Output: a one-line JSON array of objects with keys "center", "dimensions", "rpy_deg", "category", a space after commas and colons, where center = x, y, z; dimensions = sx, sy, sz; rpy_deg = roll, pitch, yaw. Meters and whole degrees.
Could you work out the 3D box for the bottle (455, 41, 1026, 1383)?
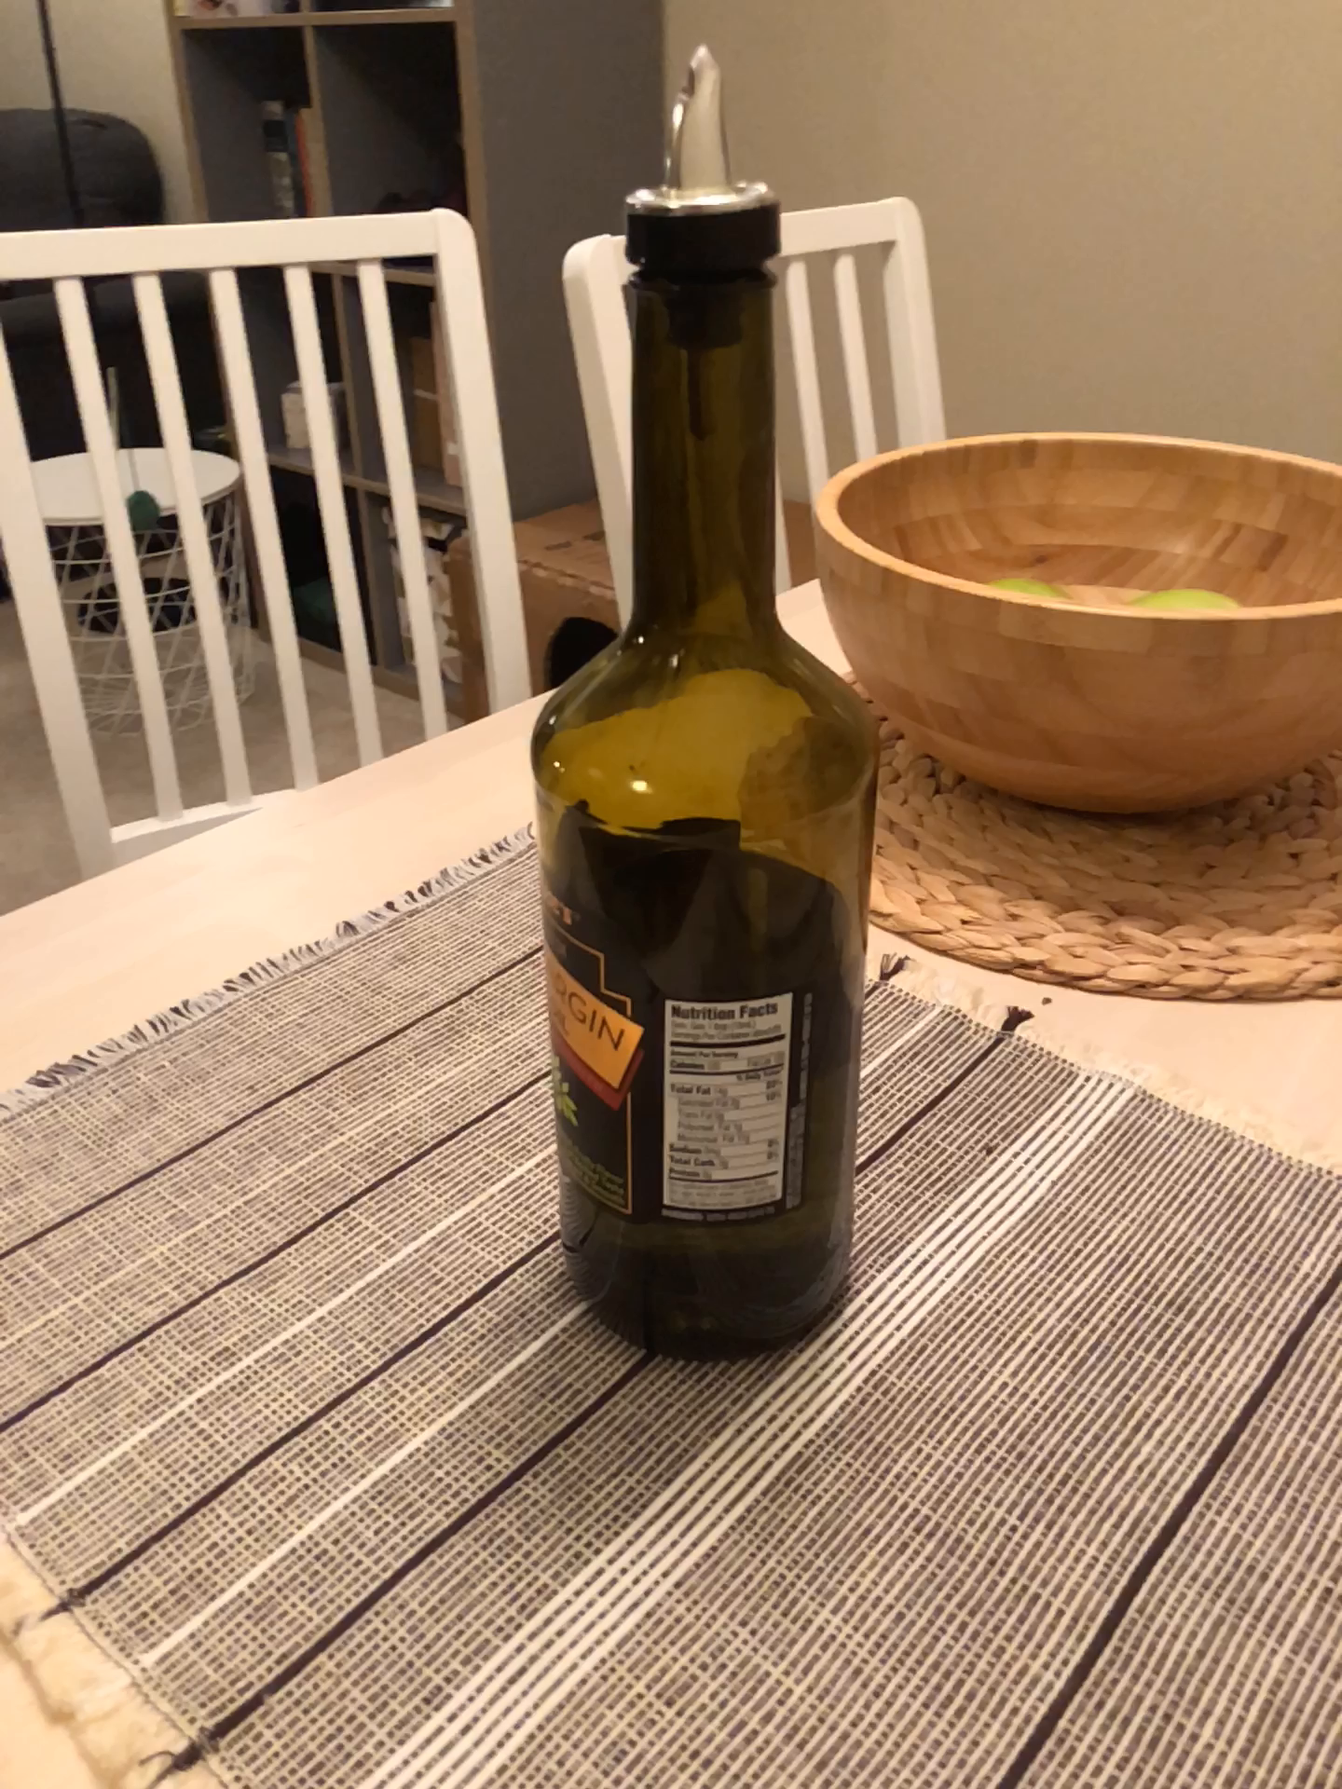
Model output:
[{"center": [0.008, -0.030, 0.356], "dimensions": [0.094, 0.304, 0.091], "rpy_deg": [0, 29, 0], "category": "bottle"}]
